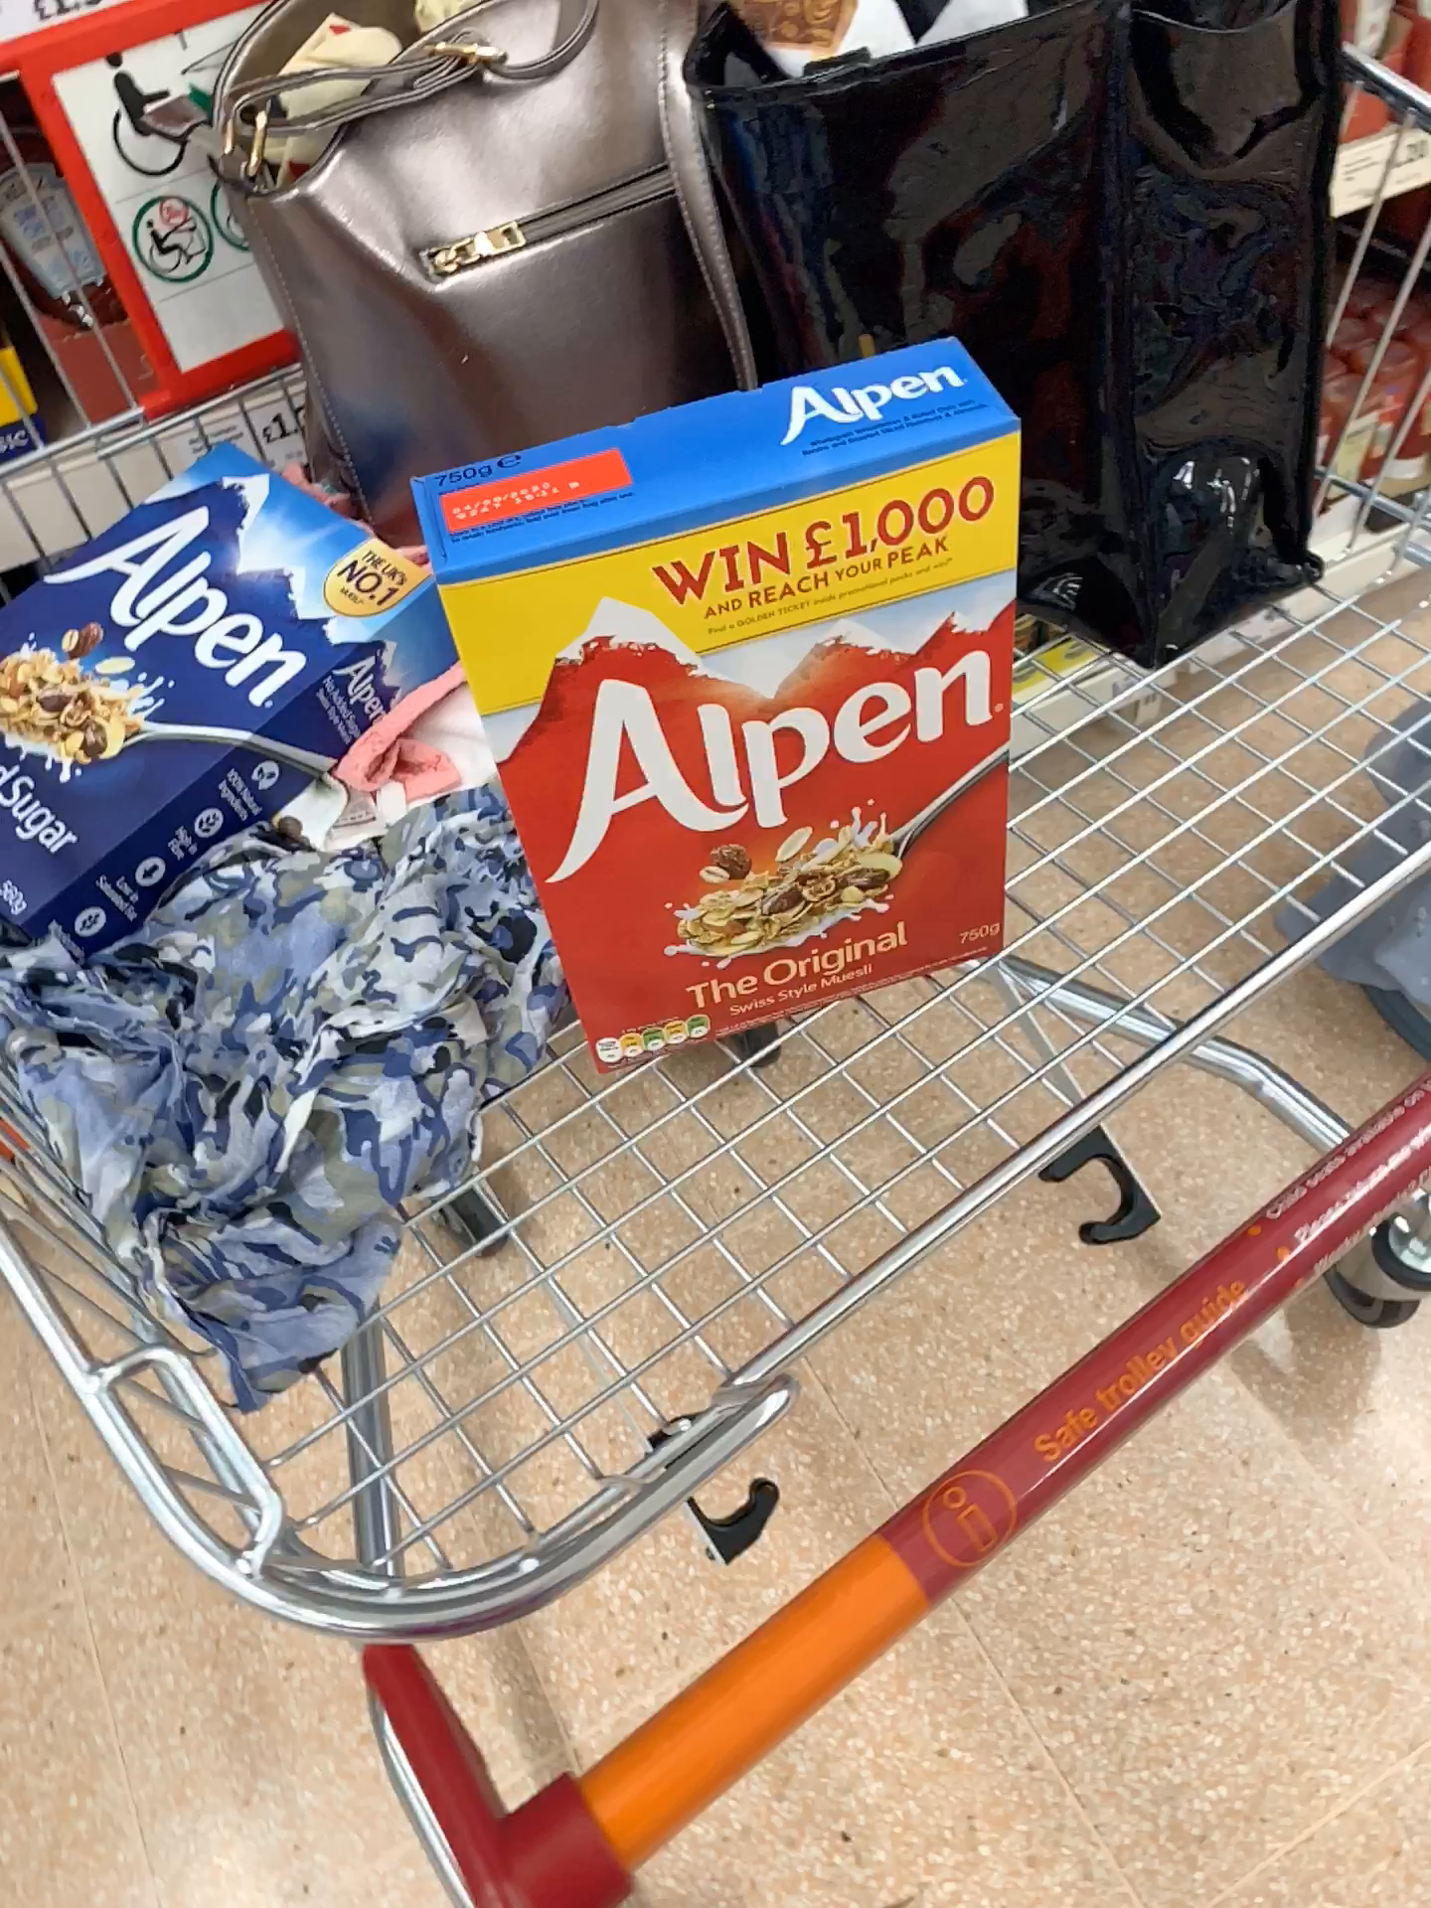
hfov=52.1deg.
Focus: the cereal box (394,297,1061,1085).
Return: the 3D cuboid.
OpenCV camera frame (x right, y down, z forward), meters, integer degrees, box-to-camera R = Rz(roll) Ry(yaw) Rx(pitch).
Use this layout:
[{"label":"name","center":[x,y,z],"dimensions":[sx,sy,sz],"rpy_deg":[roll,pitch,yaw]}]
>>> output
[{"label":"cereal box","center":[0.012,-0.074,0.510],"dimensions":[0.180,0.248,0.061],"rpy_deg":[-16,51,-7]}]
